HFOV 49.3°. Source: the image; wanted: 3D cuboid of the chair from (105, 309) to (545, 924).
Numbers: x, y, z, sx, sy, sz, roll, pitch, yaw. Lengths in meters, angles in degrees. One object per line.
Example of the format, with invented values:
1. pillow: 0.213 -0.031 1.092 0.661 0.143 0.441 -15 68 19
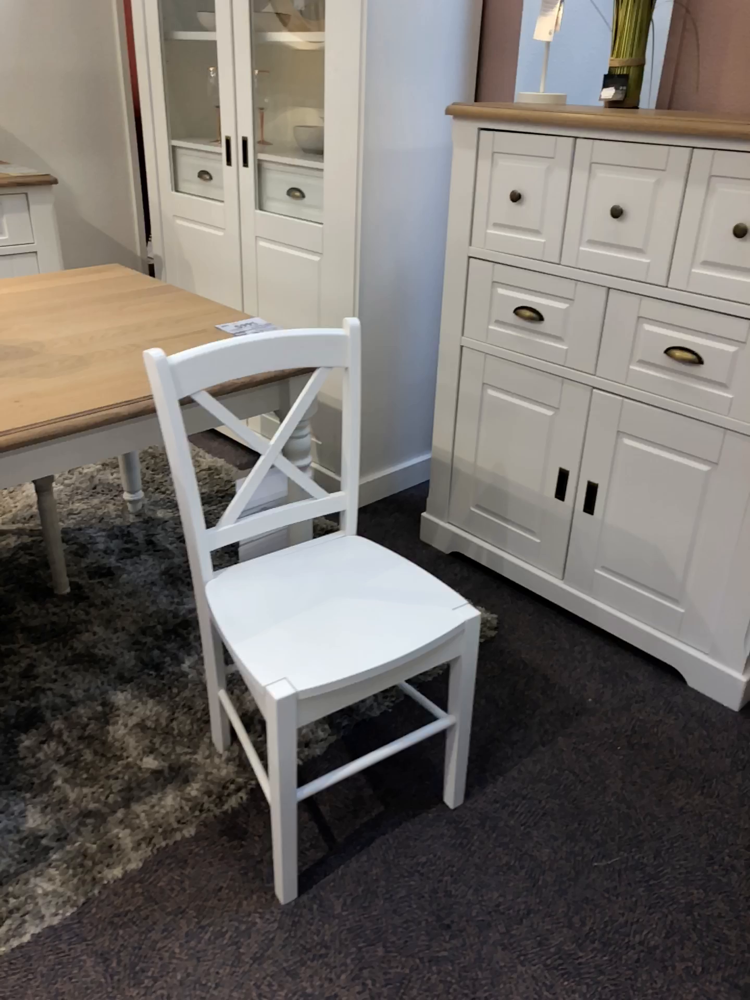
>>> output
1. chair: -0.093 0.152 1.366 0.462 0.785 0.461 -18 33 -33
